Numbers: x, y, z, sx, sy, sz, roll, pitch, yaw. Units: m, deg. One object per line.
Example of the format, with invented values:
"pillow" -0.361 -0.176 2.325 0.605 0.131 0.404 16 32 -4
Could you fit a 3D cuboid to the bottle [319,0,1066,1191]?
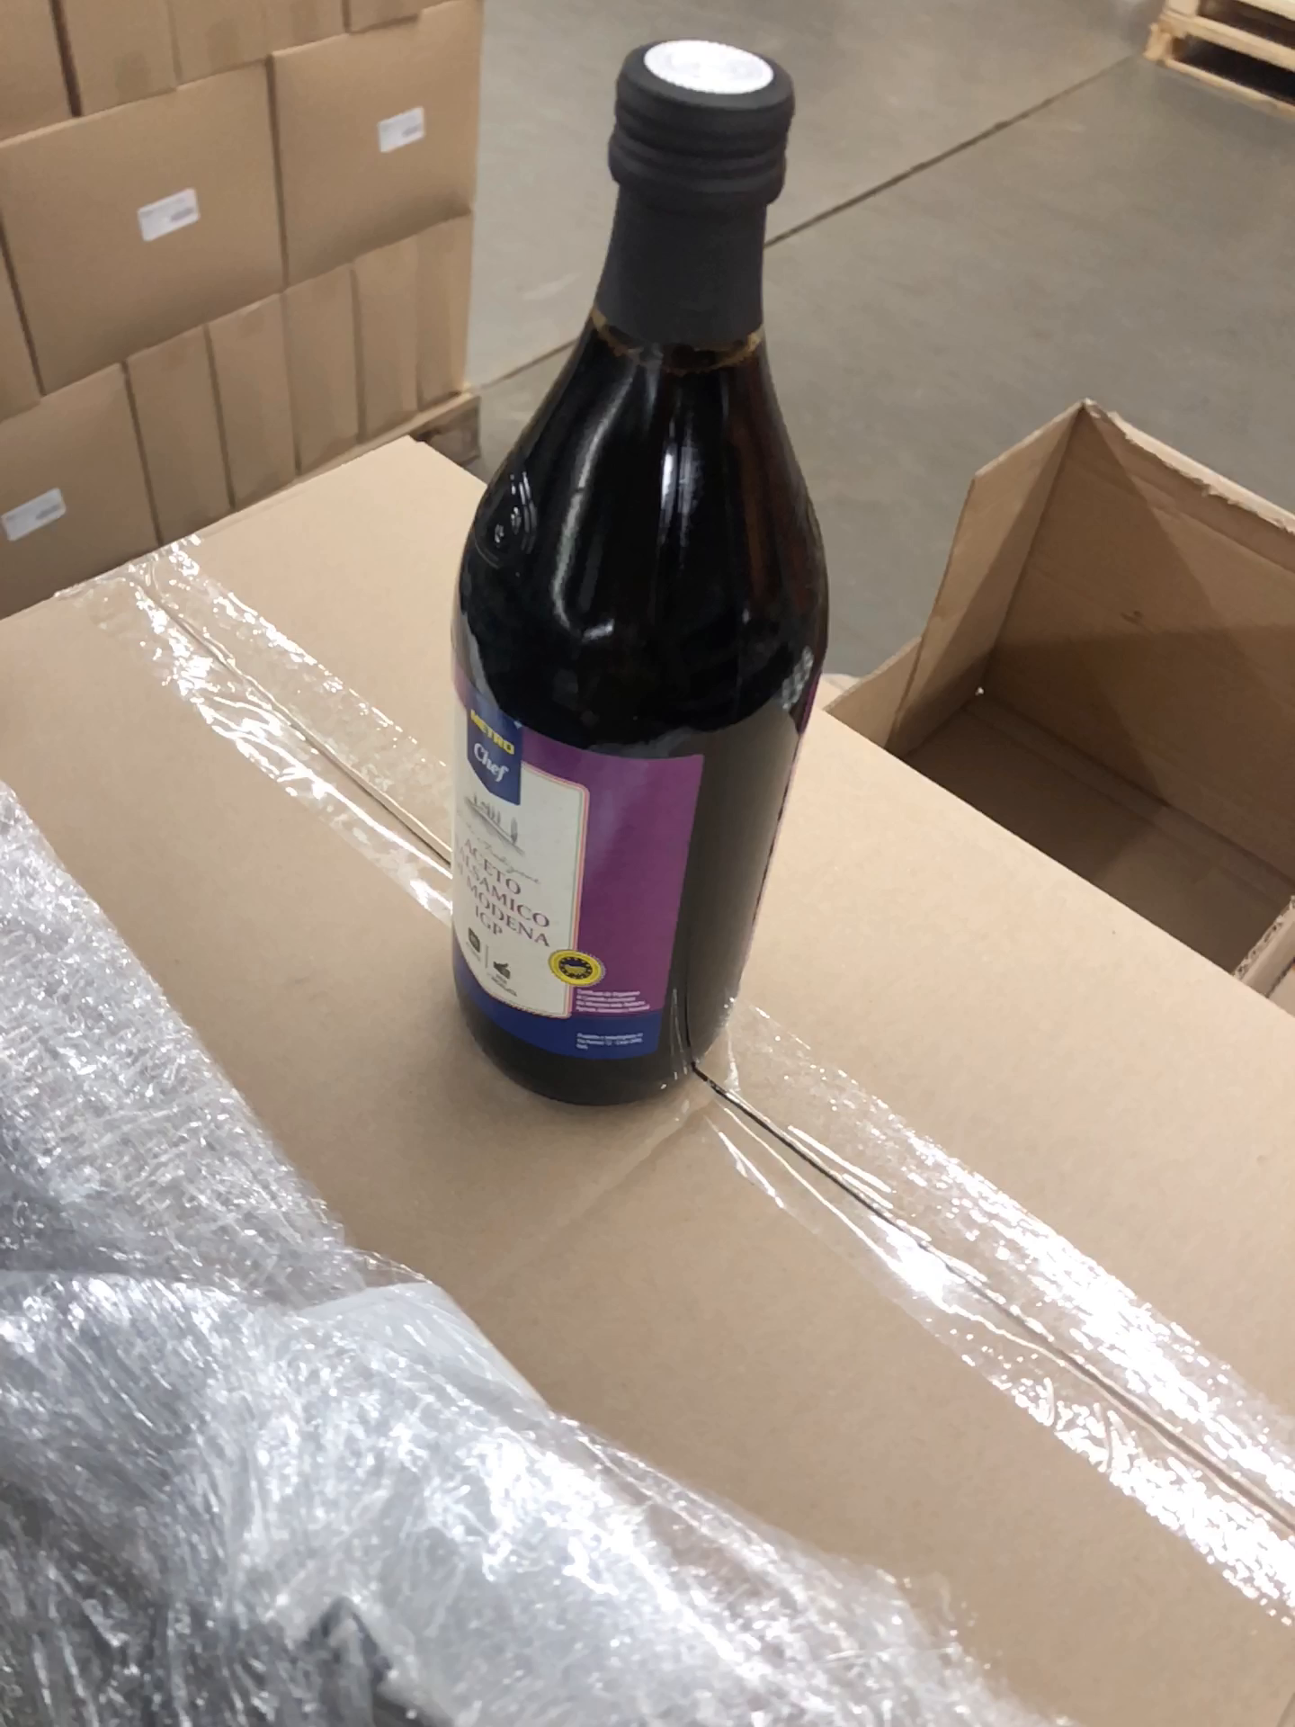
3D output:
"bottle" -0.003 -0.042 0.338 0.090 0.257 0.090 4 49 -4
